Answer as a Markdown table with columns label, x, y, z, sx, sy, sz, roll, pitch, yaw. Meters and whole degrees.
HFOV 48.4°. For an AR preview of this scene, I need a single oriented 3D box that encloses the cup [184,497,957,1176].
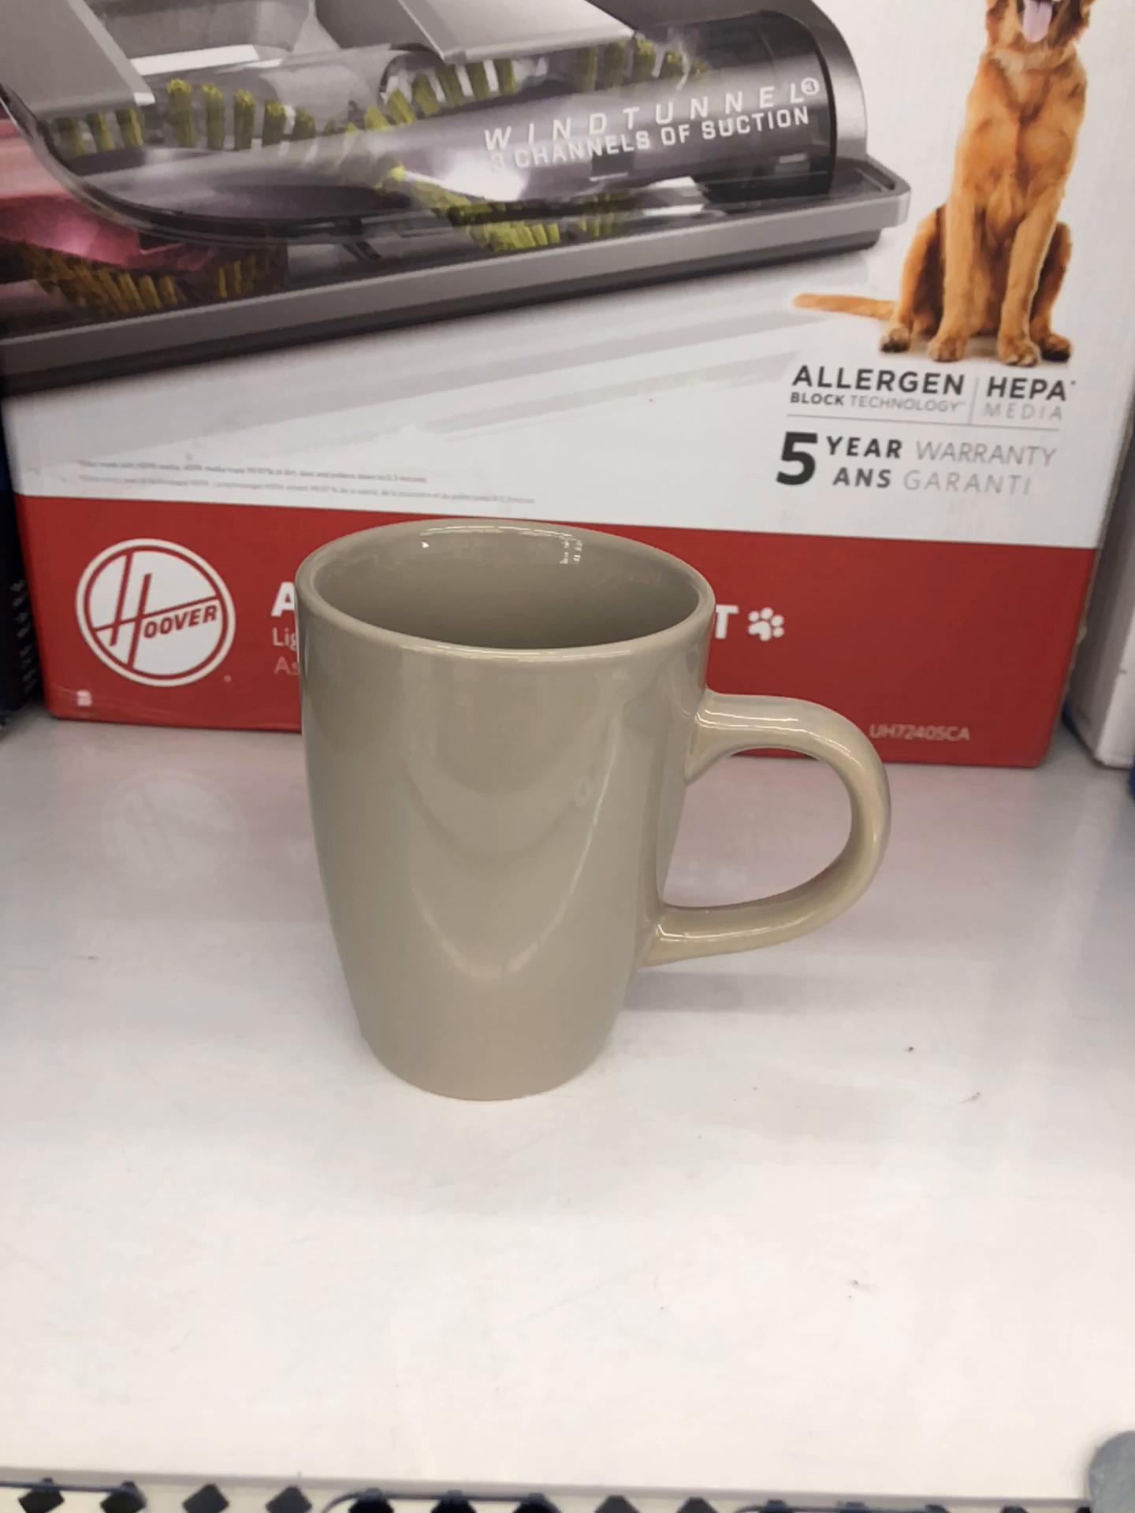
| label | x | y | z | sx | sy | sz | roll | pitch | yaw |
| --- | --- | --- | --- | --- | --- | --- | --- | --- | --- |
| cup | 0.003 | 0.009 | 0.261 | 0.125 | 0.092 | 0.088 | 7 | 27 | 7 |
